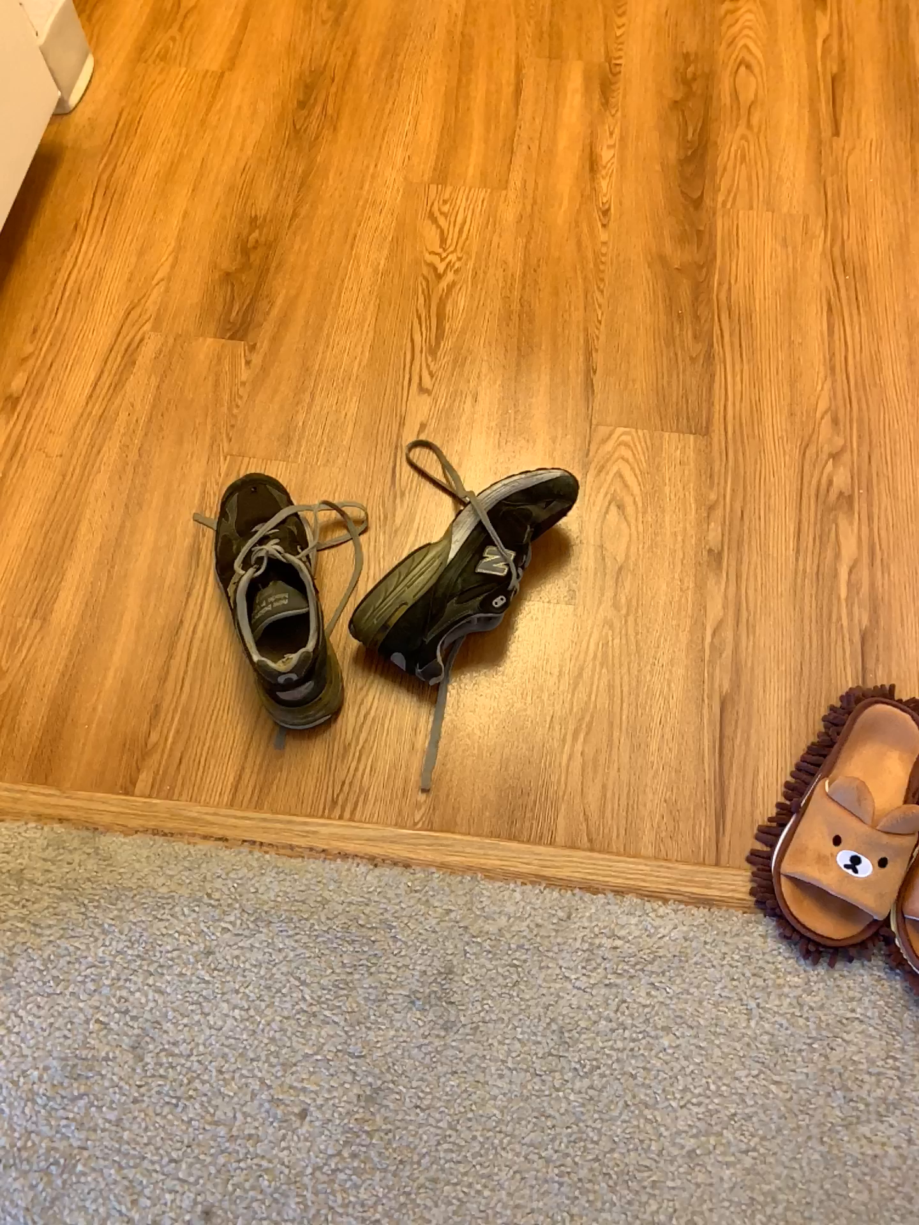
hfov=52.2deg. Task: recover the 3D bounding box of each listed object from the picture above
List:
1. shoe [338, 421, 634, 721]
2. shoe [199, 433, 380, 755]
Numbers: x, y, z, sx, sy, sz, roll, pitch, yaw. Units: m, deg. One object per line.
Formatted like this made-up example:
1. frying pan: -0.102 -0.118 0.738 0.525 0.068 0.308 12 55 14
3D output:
1. shoe: 0.039 -0.049 1.046 0.320 0.130 0.120 -40 61 -16
2. shoe: -0.199 -0.021 1.110 0.120 0.170 0.321 -15 66 -6
